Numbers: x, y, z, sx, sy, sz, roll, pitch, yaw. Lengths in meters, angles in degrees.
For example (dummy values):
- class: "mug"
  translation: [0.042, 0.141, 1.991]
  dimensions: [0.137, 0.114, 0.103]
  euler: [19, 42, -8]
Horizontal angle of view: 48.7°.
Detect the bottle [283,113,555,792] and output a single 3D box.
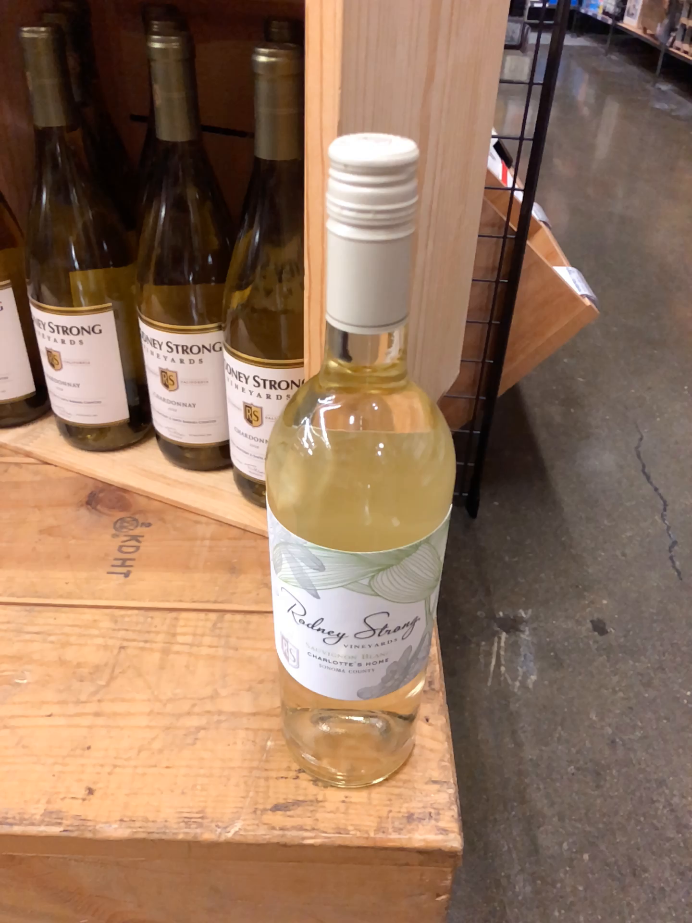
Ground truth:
- class: "bottle"
  translation: [0.015, 0.018, 0.319]
  dimensions: [0.073, 0.283, 0.079]
  euler: [2, 35, -1]
